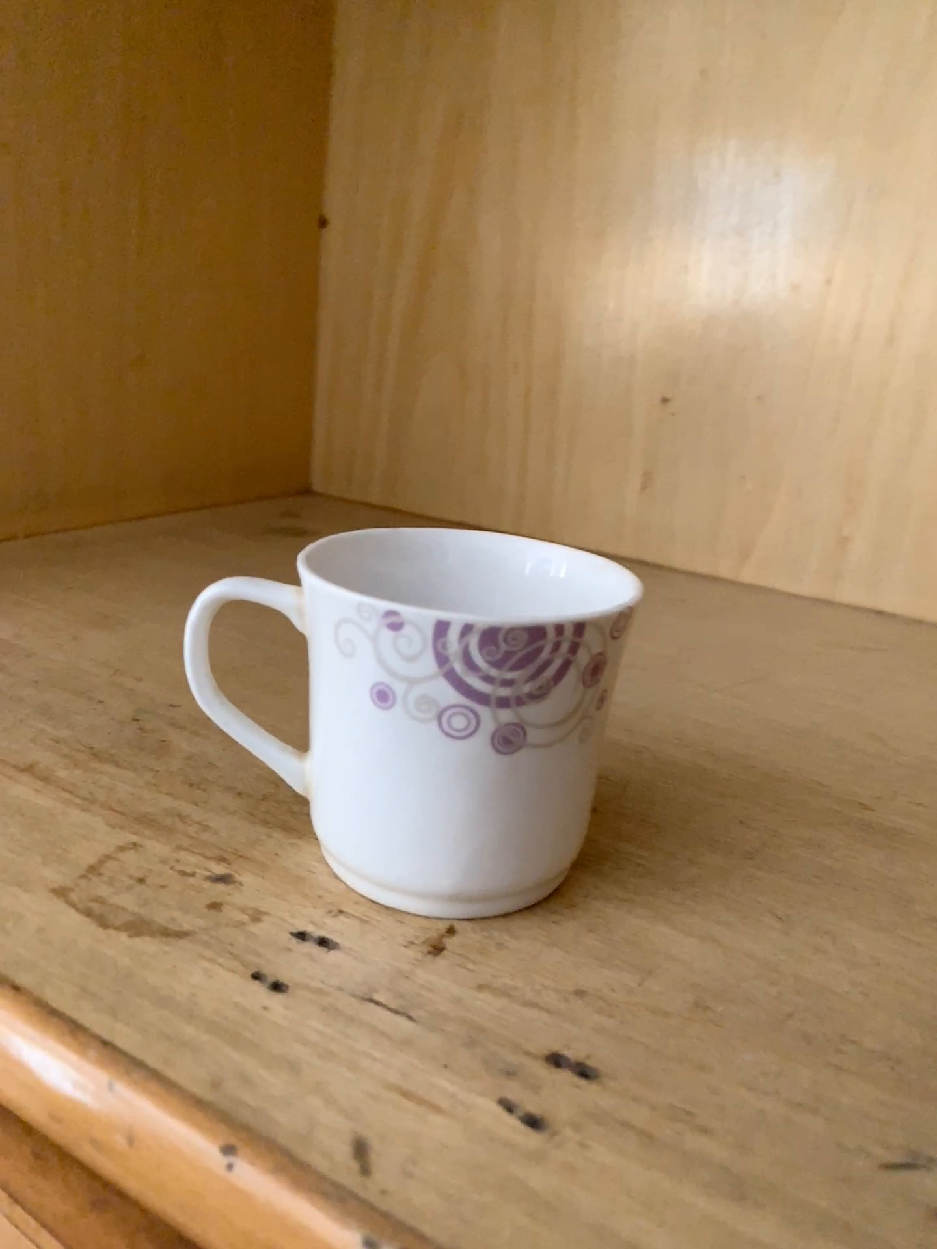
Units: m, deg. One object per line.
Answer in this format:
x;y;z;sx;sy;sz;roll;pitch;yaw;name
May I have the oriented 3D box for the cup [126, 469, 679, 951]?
-0.014;0.012;0.202;0.090;0.070;0.070;5;17;-1;cup
